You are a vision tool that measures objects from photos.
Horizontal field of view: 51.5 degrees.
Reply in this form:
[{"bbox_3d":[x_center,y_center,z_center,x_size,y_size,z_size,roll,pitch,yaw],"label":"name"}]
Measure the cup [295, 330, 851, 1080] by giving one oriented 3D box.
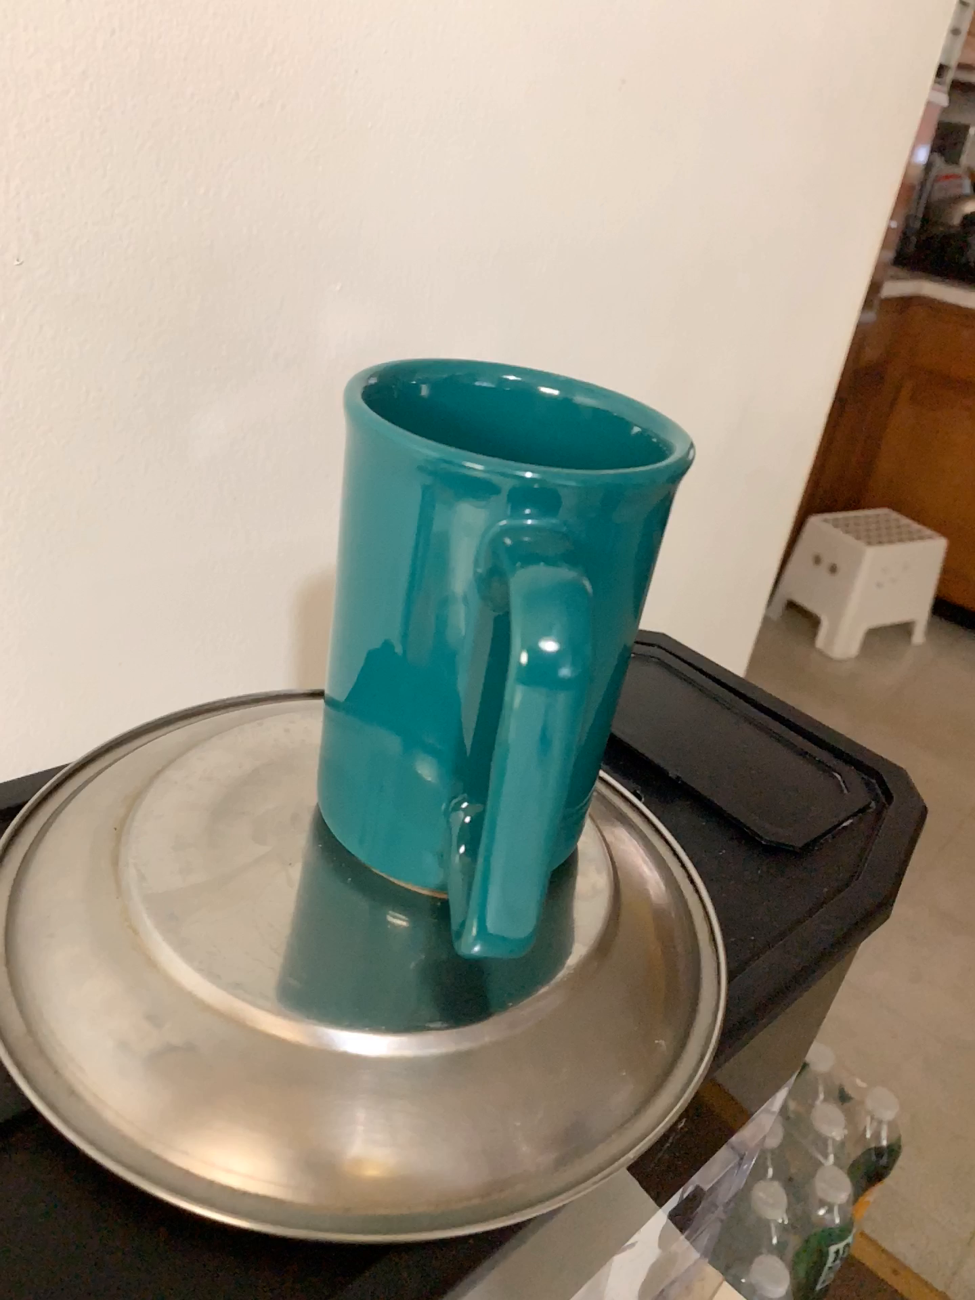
[{"bbox_3d":[0.000,0.005,0.233,0.080,0.119,0.121,3,29,-13],"label":"cup"}]
